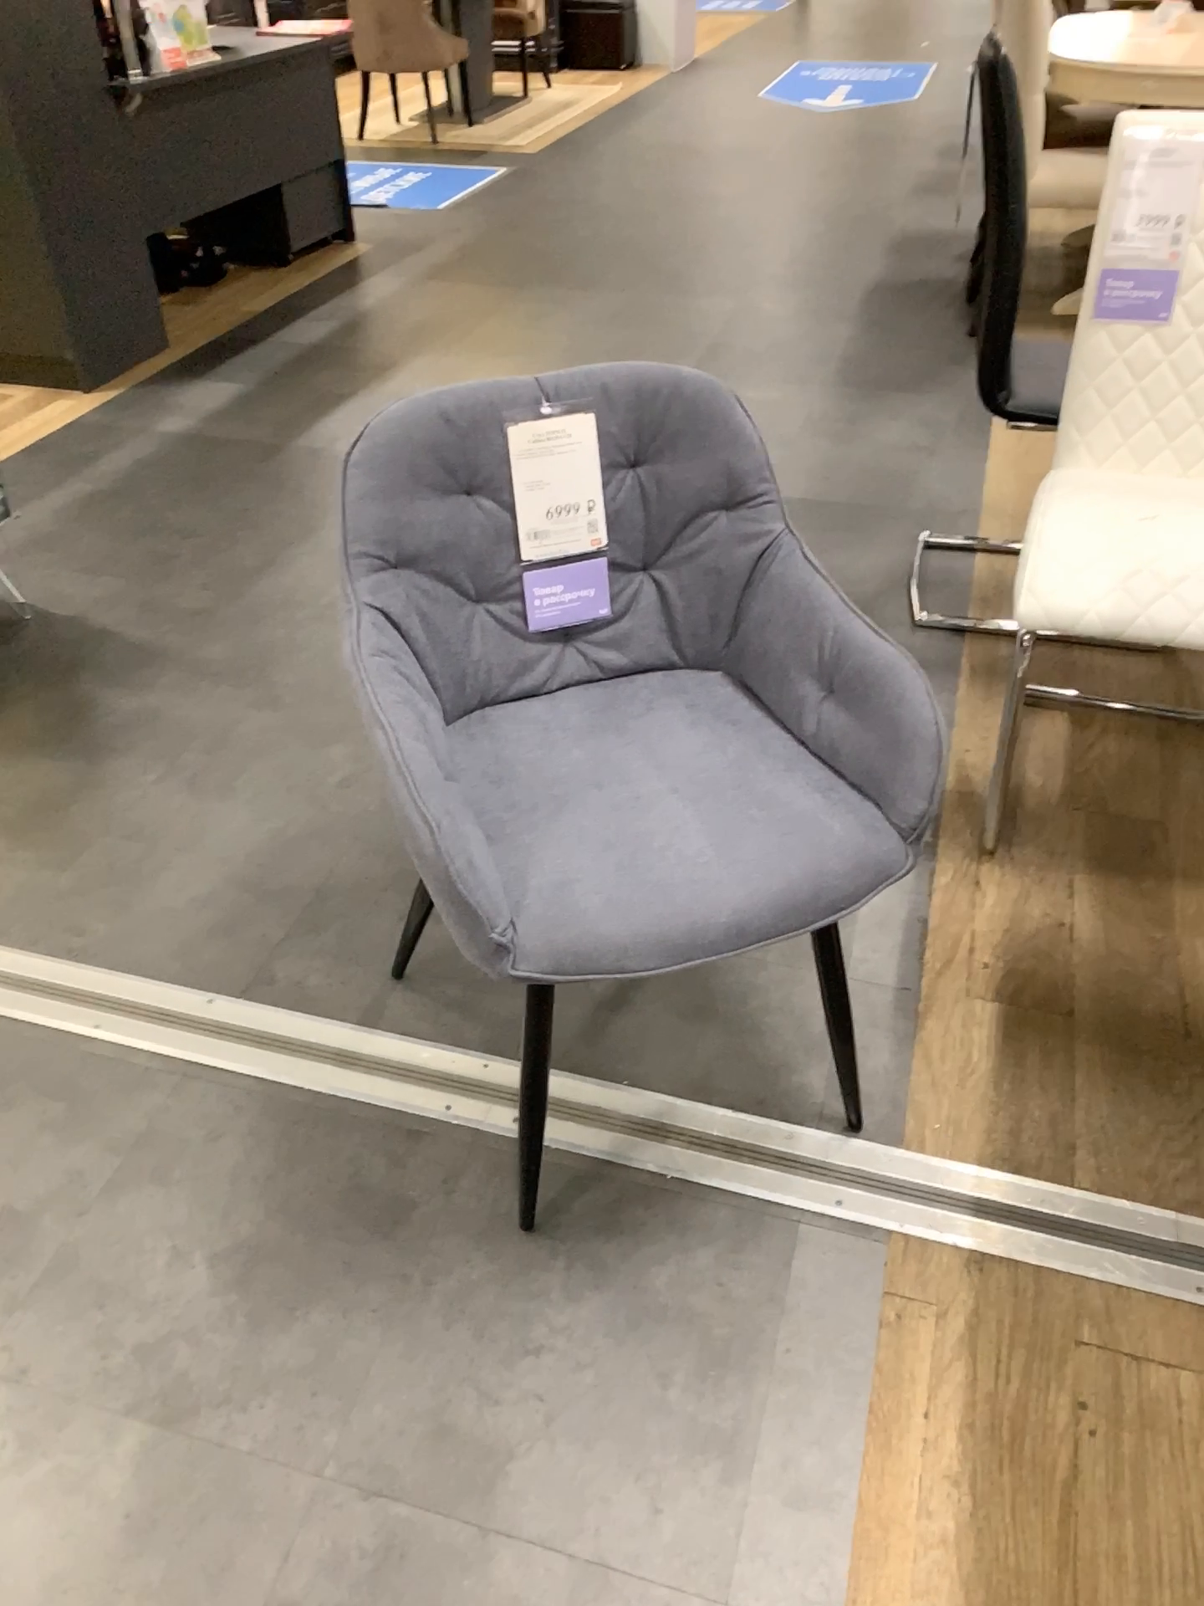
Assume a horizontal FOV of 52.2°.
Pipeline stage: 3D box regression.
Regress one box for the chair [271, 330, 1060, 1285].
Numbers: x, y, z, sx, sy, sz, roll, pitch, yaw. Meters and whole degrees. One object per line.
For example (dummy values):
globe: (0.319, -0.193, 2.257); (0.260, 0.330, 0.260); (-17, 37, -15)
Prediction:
chair: (0.013, -0.018, 1.377); (0.560, 0.776, 0.593); (-12, 39, -14)
